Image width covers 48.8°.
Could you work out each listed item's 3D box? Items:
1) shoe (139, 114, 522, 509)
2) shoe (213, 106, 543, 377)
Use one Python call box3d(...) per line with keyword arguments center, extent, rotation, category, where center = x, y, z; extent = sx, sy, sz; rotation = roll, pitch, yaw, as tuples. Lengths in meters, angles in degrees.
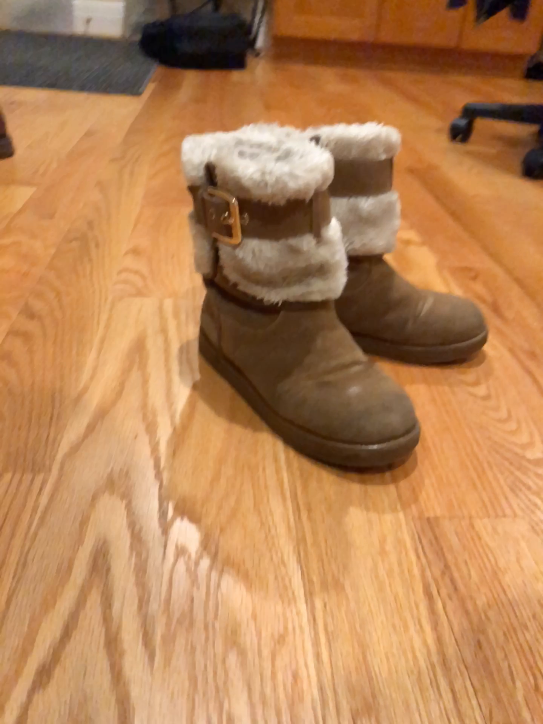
box3d(center=(0.018, -0.058, 0.451), extent=(0.107, 0.193, 0.255), rotation=(-22, 40, -36), category="shoe")
box3d(center=(0.084, -0.114, 0.555), extent=(0.254, 0.193, 0.113), rotation=(7, 32, 5), category="shoe")
